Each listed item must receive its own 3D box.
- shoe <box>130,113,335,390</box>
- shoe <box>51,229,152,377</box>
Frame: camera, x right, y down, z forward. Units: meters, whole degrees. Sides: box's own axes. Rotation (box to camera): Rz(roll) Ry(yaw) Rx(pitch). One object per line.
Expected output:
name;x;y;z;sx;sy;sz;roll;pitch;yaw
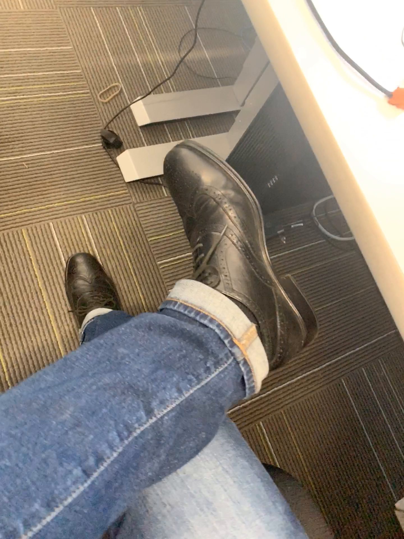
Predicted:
shoe;0.021;-0.018;0.462;0.091;0.111;0.273;-18;79;-27
shoe;-0.217;0.072;0.874;0.112;0.104;0.273;-18;80;-24
